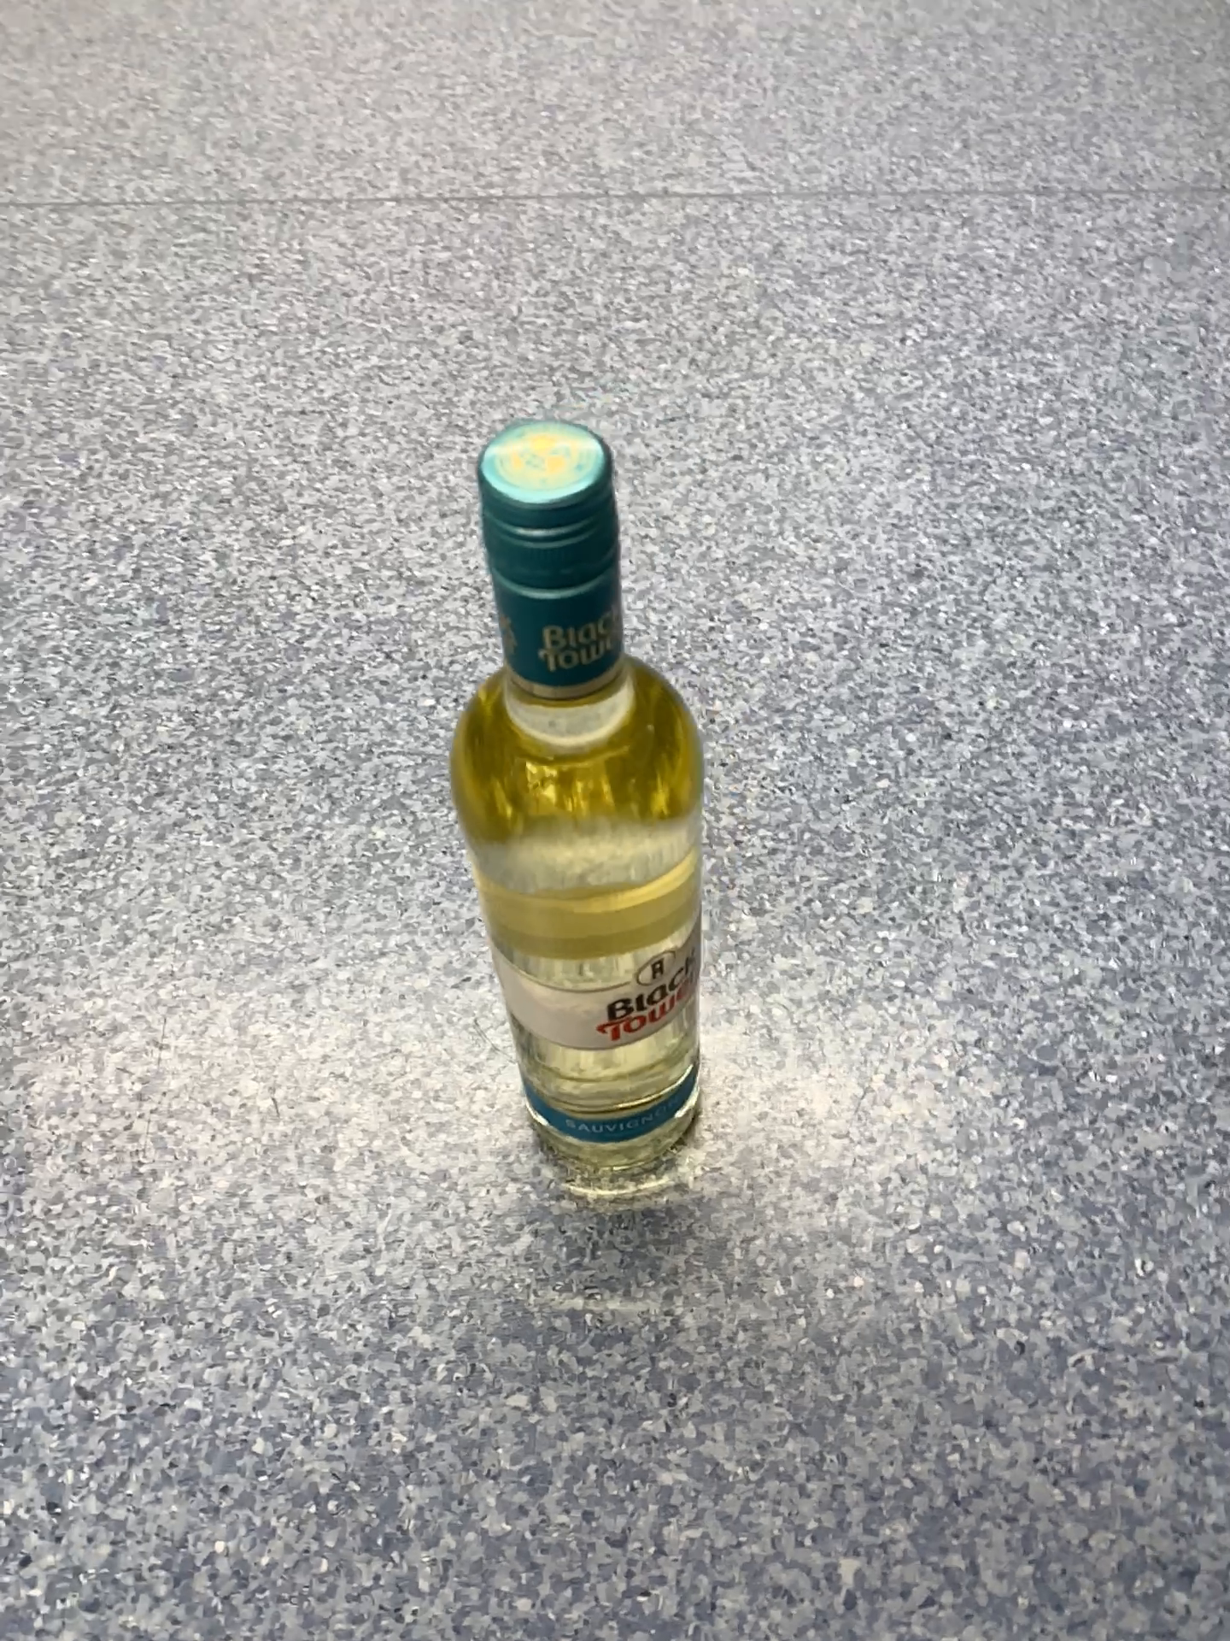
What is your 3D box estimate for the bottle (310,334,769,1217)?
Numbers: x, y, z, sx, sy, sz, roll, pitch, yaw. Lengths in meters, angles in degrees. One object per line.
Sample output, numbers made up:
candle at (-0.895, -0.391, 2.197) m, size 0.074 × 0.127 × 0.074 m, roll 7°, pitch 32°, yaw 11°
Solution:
bottle at (-0.009, 0.019, 0.381) m, size 0.071 × 0.306 × 0.065 m, roll -2°, pitch 53°, yaw 2°
